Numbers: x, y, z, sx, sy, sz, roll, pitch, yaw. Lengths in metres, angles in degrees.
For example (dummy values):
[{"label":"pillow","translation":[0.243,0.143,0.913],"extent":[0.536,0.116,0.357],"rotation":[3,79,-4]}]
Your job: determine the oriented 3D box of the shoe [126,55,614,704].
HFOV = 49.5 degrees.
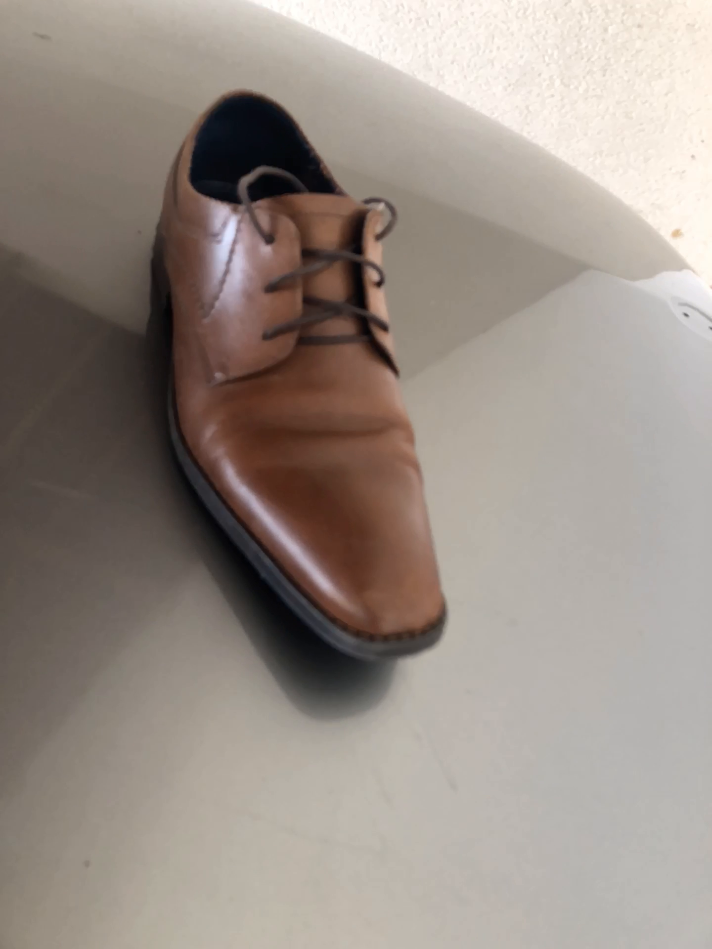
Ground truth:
[{"label":"shoe","translation":[-0.029,-0.080,0.366],"extent":[0.130,0.089,0.342],"rotation":[-5,49,-16]}]
